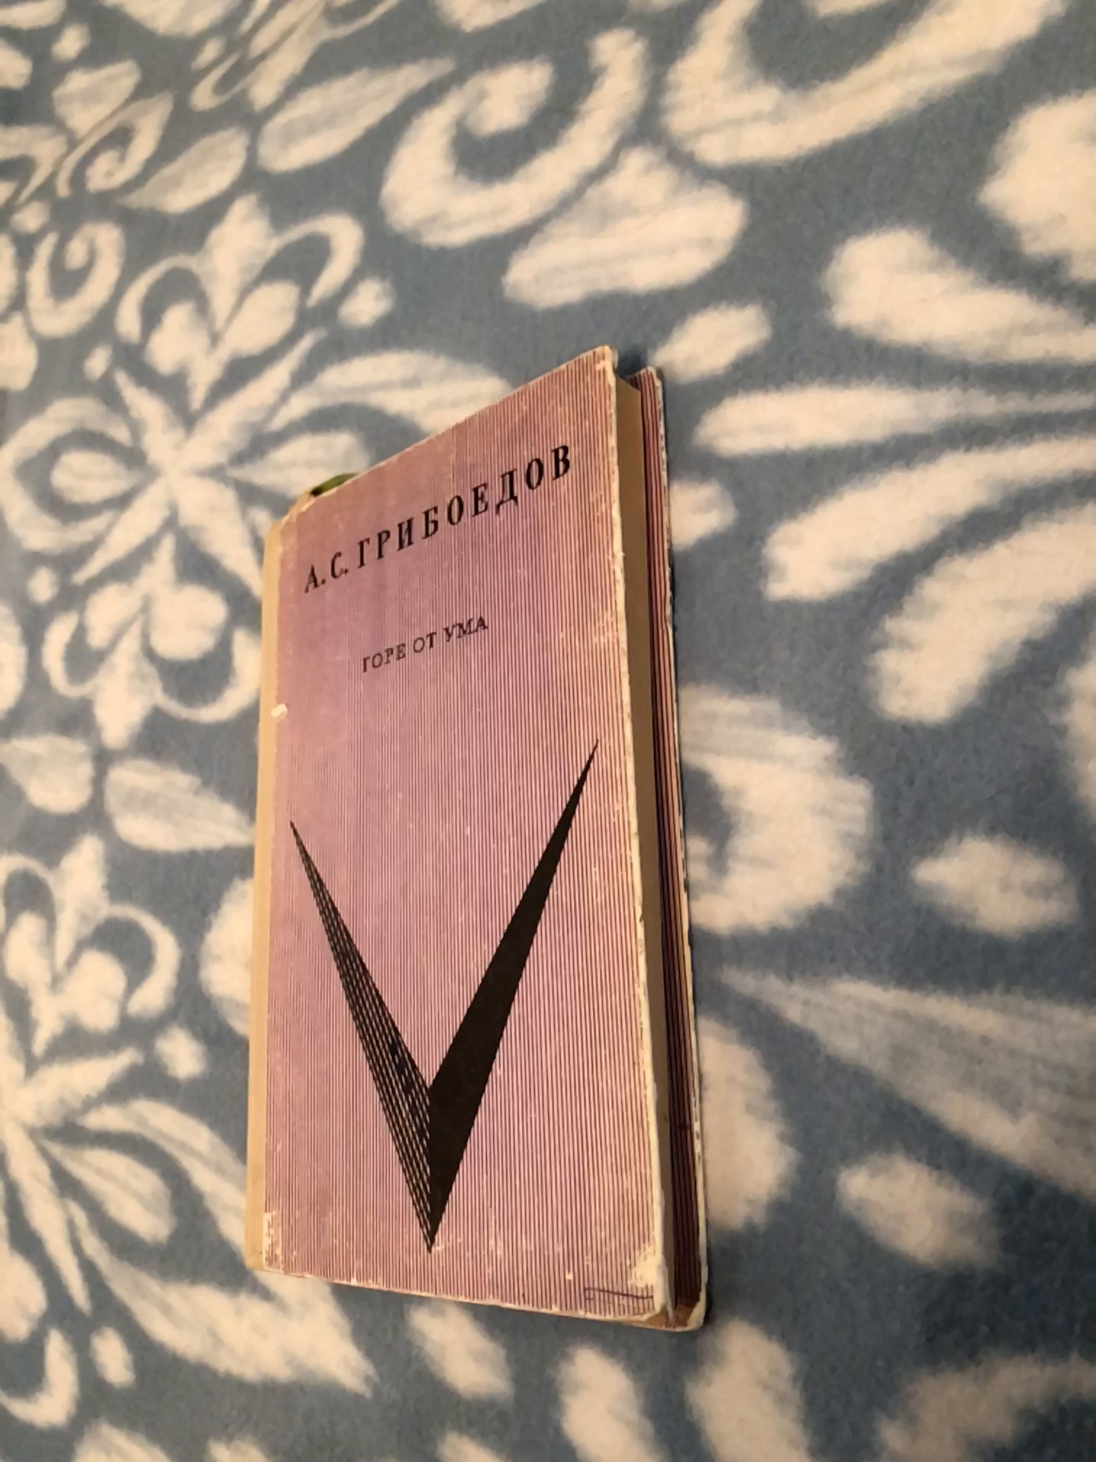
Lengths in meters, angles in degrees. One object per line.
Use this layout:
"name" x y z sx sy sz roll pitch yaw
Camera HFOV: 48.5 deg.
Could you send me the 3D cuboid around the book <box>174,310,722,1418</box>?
"book" -0.035 0.030 0.297 0.158 0.020 0.217 -15 70 41
